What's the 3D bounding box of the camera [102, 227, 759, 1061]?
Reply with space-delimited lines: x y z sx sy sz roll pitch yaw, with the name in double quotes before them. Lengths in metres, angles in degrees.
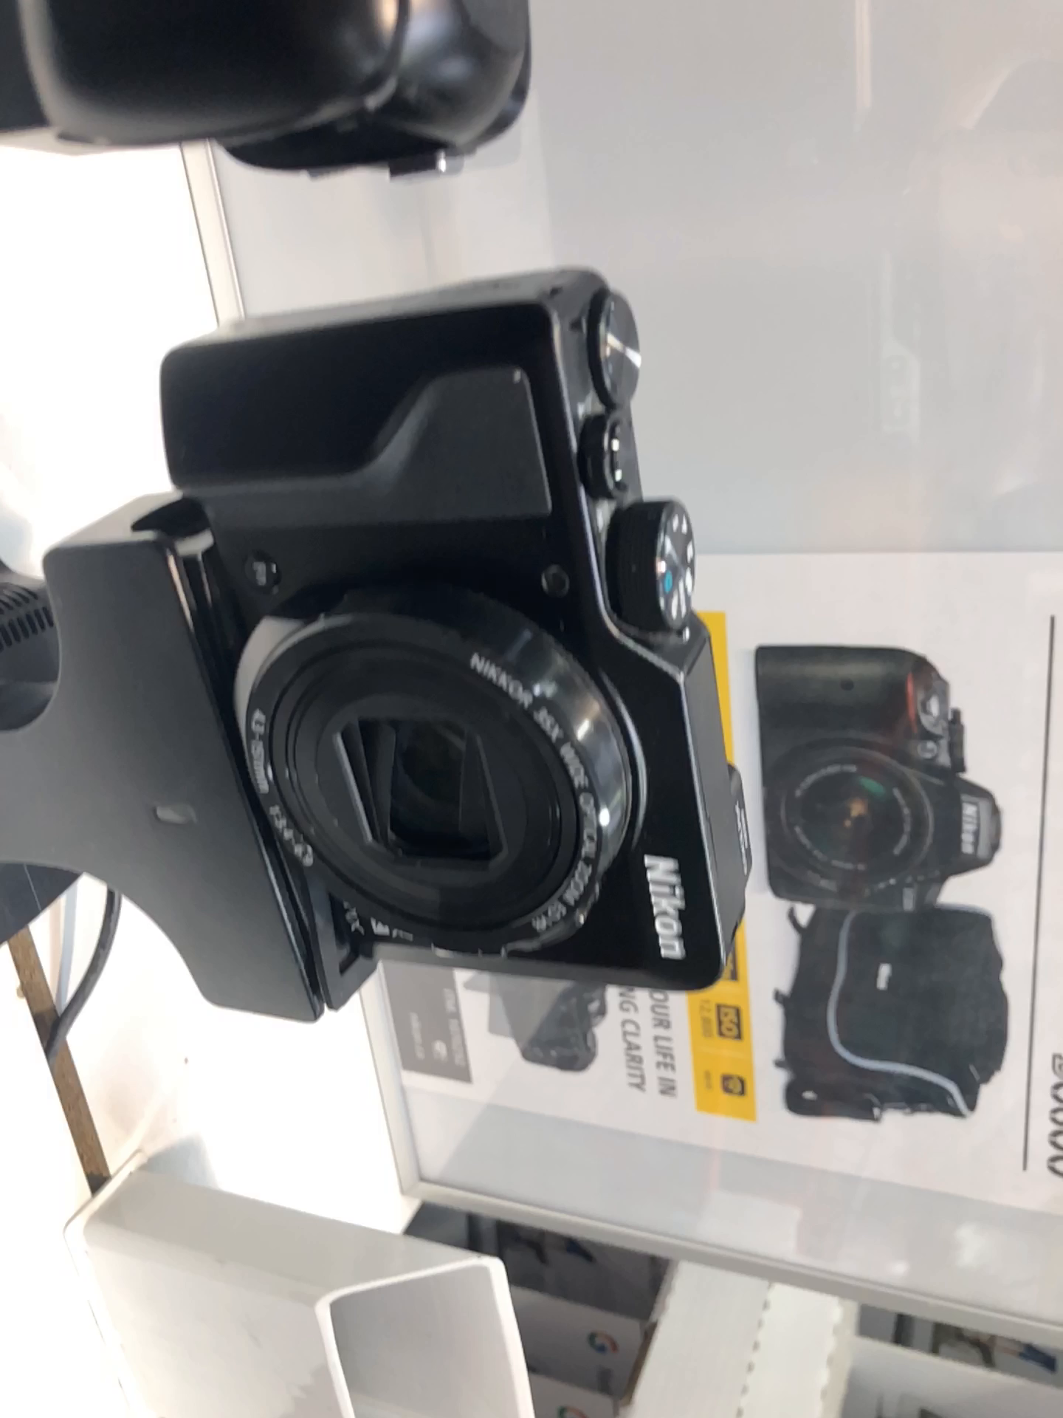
"camera" -0.005 -0.005 0.186 0.044 0.069 0.117 -64 150 -53
